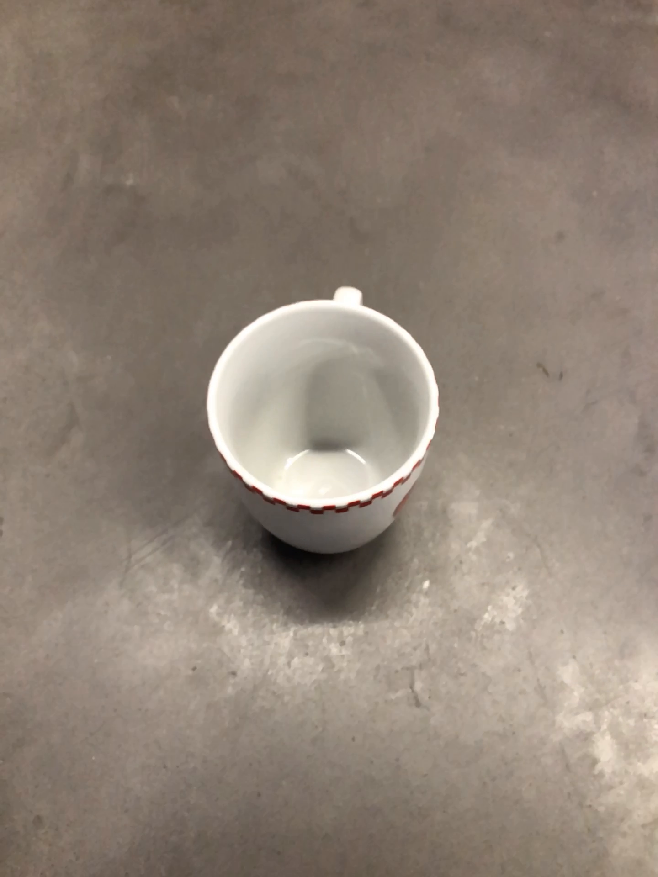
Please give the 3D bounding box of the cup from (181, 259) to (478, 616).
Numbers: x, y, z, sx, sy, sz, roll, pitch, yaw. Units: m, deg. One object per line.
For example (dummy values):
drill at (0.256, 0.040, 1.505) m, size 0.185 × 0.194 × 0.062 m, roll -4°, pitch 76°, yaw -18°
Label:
cup at (0.004, 0.004, 0.290) m, size 0.087 × 0.092 × 0.103 m, roll 7°, pitch 67°, yaw 3°
